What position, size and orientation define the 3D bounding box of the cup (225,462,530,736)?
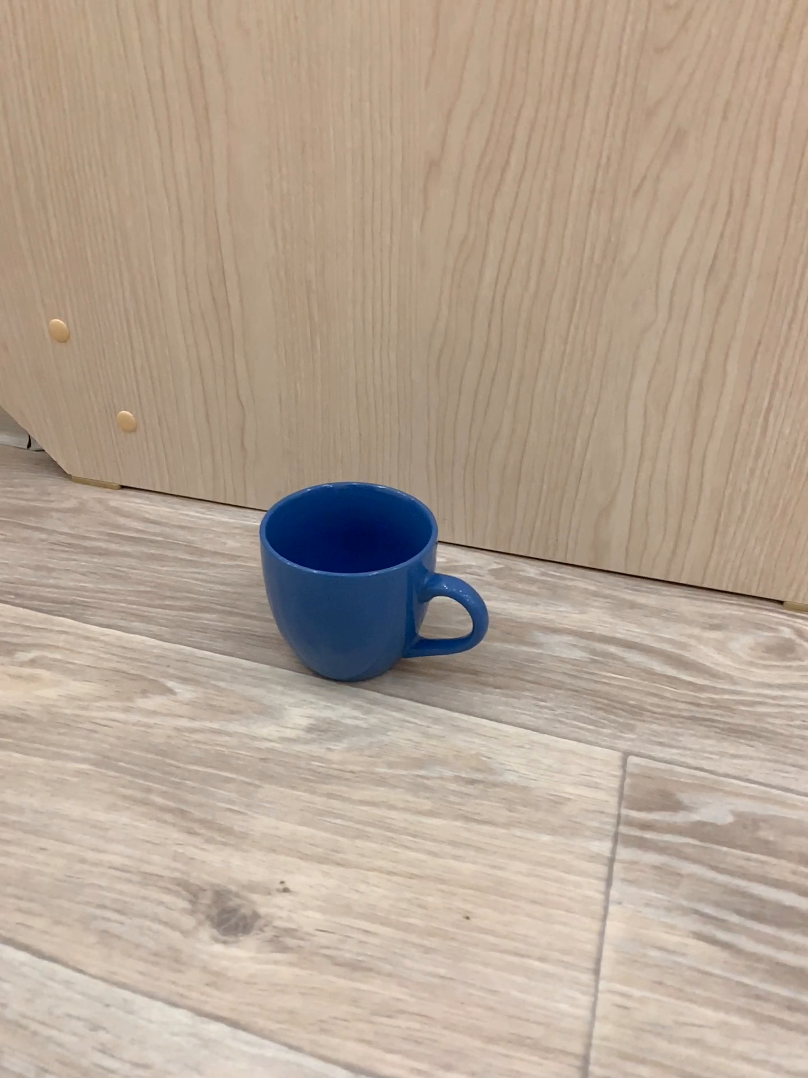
[{"bbox_3d":[-0.011,0.024,0.397,0.118,0.074,0.078,13,33,19],"label":"cup"}]
